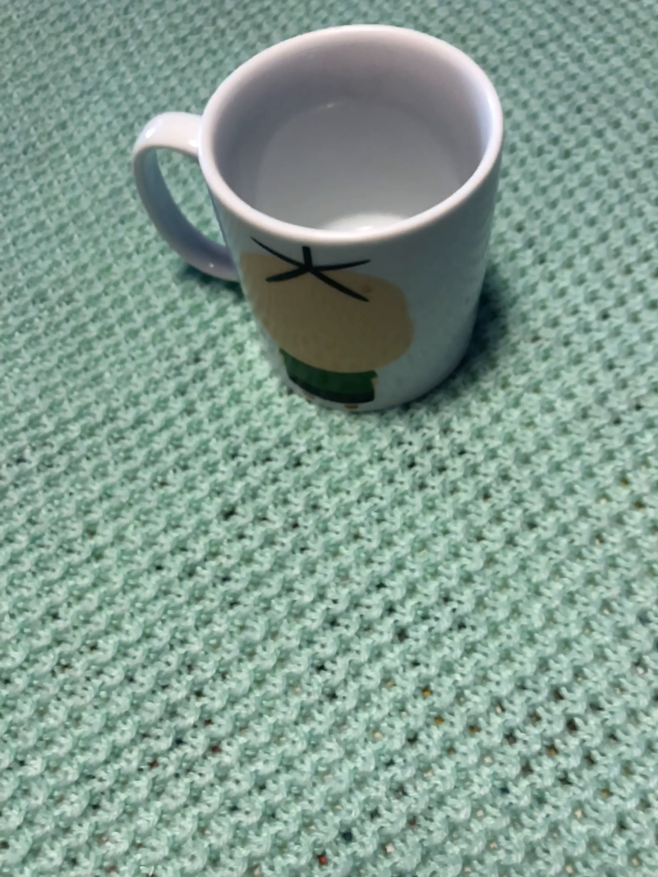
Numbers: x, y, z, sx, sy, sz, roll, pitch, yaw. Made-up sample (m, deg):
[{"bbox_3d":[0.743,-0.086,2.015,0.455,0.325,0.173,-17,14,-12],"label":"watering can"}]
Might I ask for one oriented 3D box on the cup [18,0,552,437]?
[{"bbox_3d":[-0.008,-0.080,0.258,0.130,0.100,0.090,18,66,14],"label":"cup"}]
